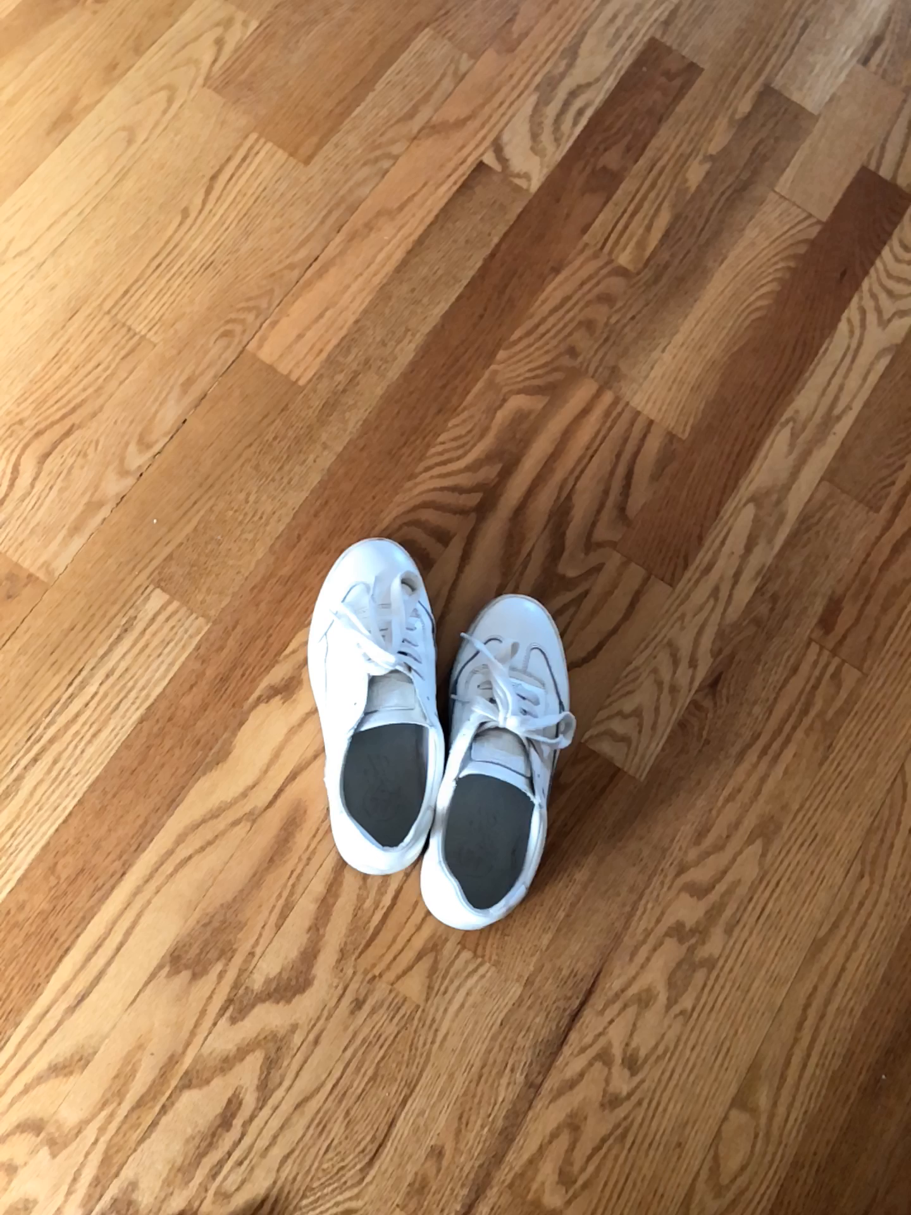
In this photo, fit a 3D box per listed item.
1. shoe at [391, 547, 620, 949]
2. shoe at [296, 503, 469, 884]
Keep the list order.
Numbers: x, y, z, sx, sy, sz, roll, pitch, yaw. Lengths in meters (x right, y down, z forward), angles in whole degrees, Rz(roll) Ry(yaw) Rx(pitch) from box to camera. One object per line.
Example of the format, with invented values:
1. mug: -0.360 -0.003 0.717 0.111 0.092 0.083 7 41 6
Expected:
1. shoe: 0.036 0.104 0.743 0.102 0.107 0.260 14 75 -4
2. shoe: -0.059 0.064 0.742 0.102 0.104 0.260 -3 77 -8
